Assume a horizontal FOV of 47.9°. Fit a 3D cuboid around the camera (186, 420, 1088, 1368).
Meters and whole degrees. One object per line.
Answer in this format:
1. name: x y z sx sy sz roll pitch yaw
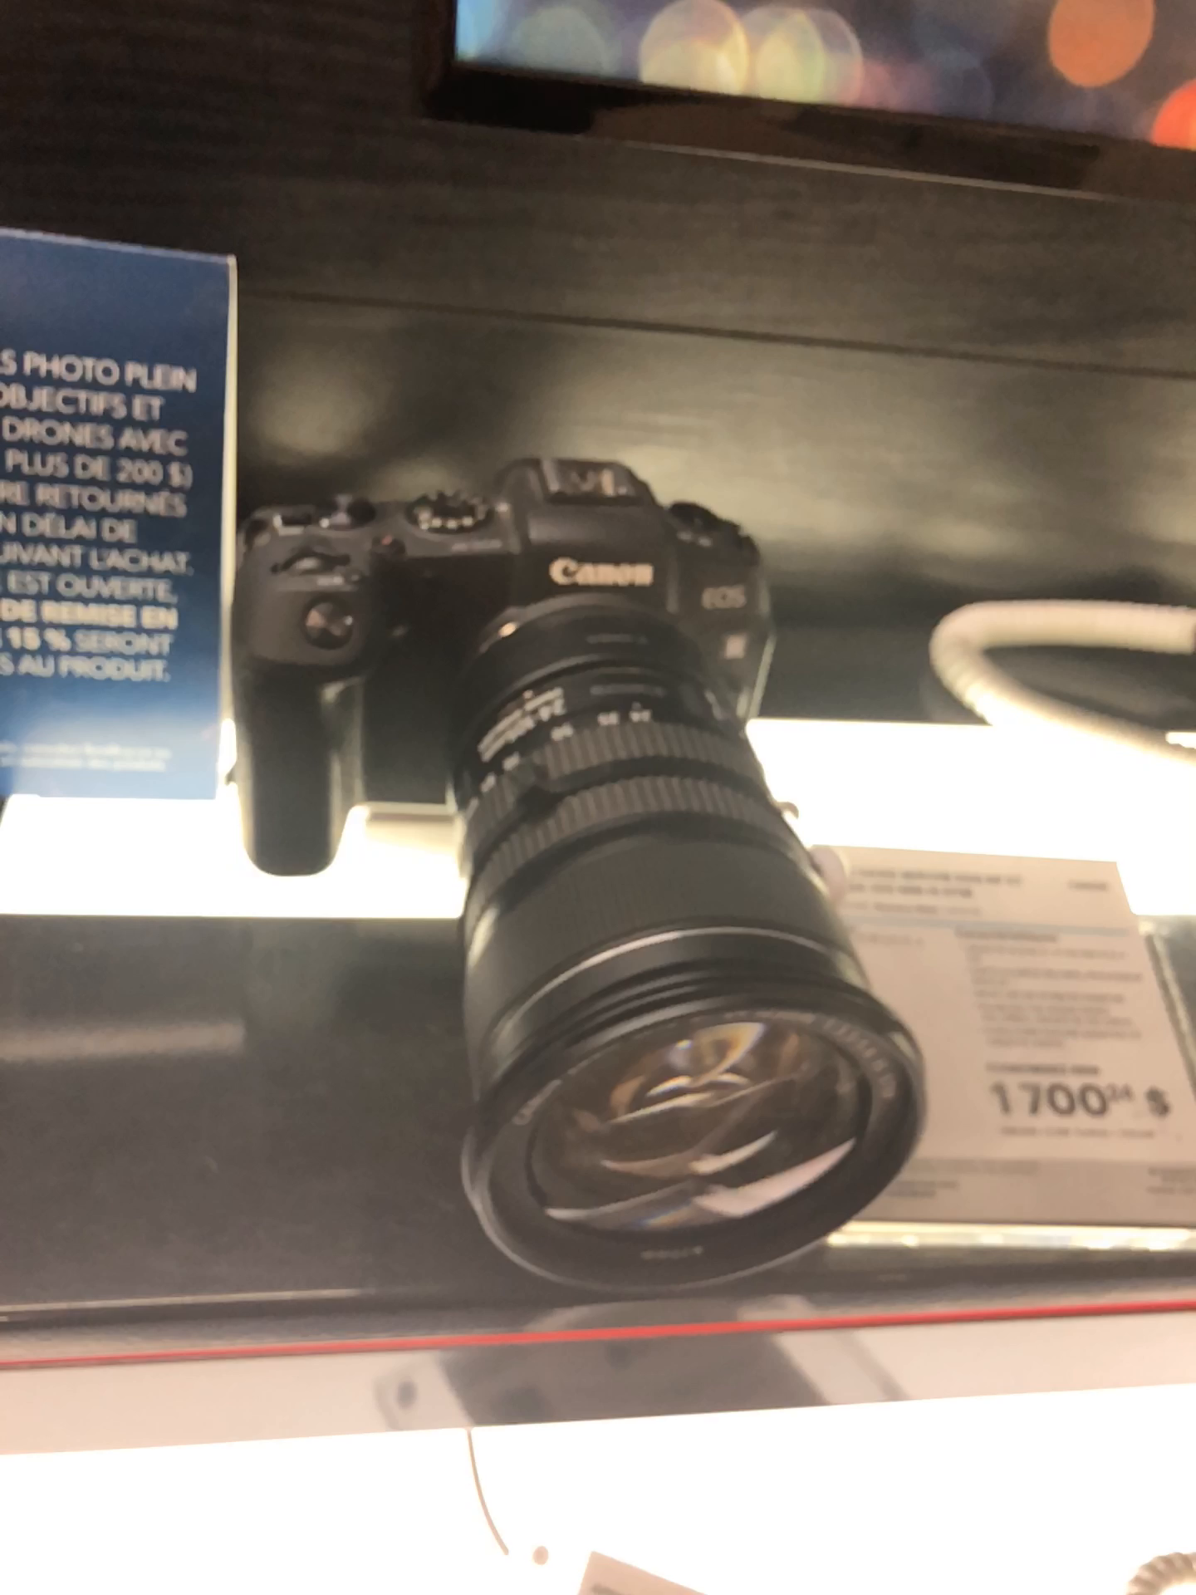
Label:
1. camera: -0.012 0.004 0.285 0.128 0.099 0.178 -1 36 -12
